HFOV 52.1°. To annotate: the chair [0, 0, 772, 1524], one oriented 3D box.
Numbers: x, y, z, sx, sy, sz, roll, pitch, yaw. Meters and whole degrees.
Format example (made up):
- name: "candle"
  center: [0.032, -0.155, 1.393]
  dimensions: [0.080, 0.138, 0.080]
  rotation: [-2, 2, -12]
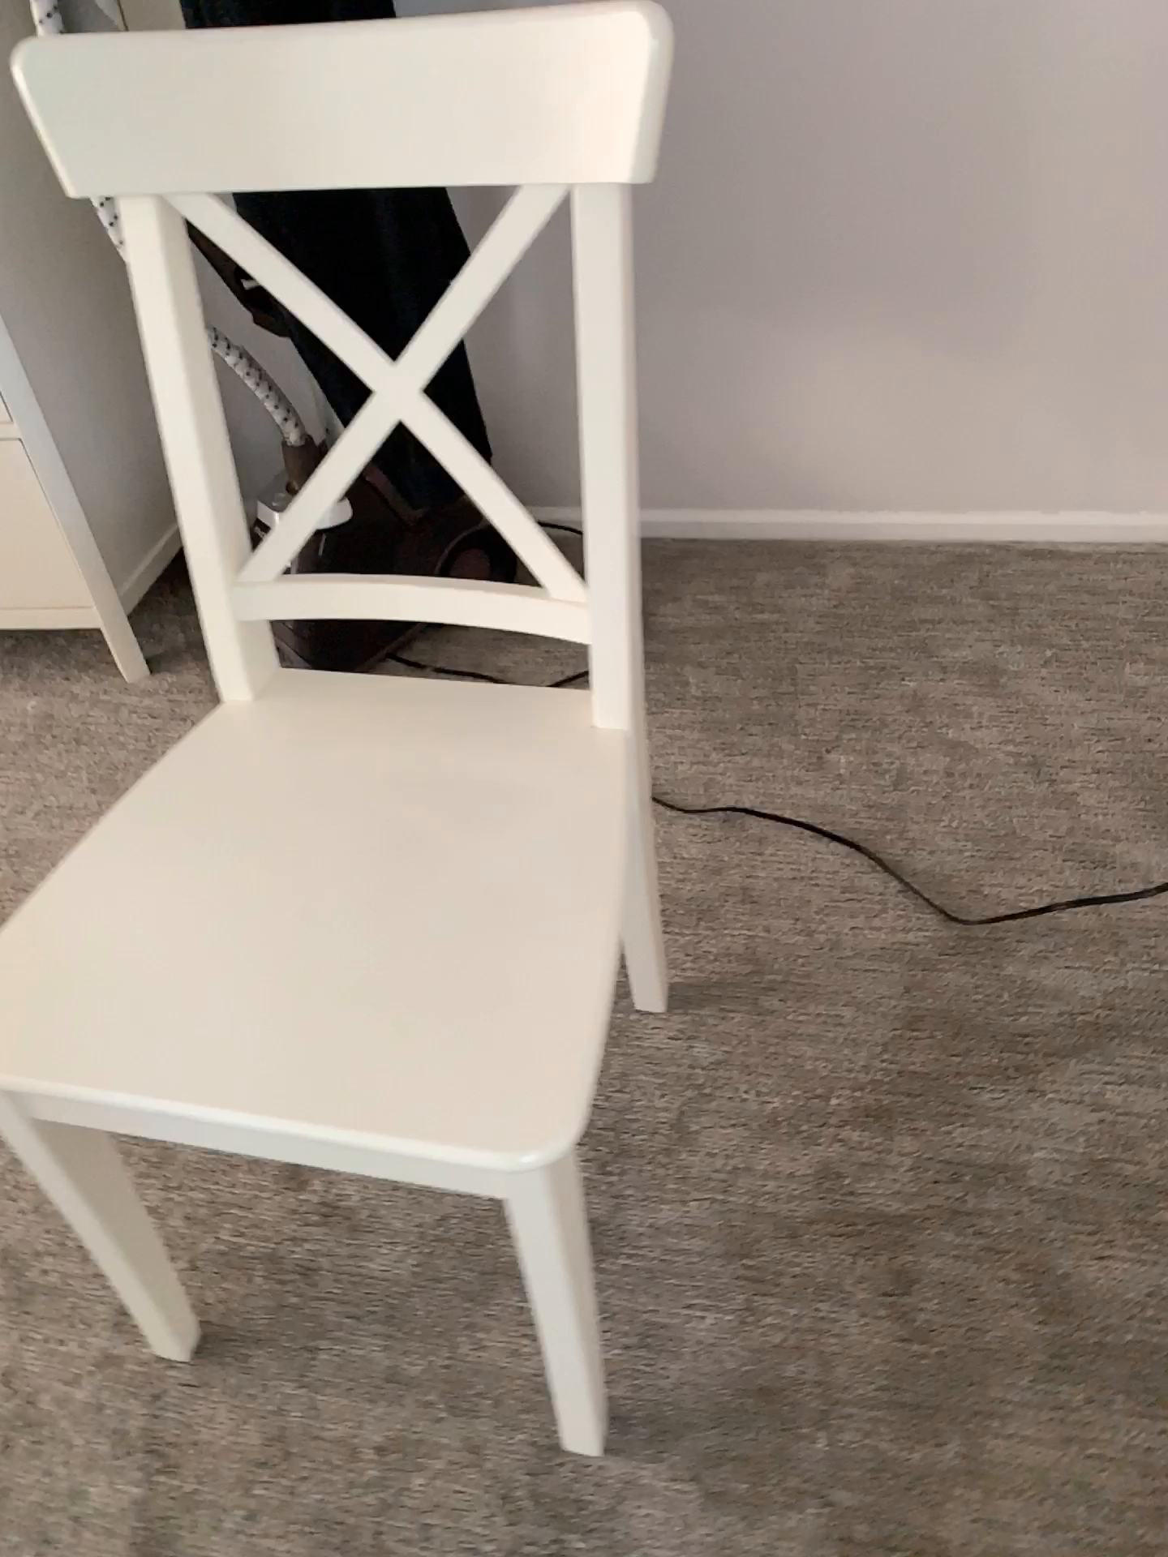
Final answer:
- name: "chair"
  center: [-0.214, -0.011, 0.789]
  dimensions: [0.611, 0.765, 0.573]
  rotation: [4, 44, 13]
